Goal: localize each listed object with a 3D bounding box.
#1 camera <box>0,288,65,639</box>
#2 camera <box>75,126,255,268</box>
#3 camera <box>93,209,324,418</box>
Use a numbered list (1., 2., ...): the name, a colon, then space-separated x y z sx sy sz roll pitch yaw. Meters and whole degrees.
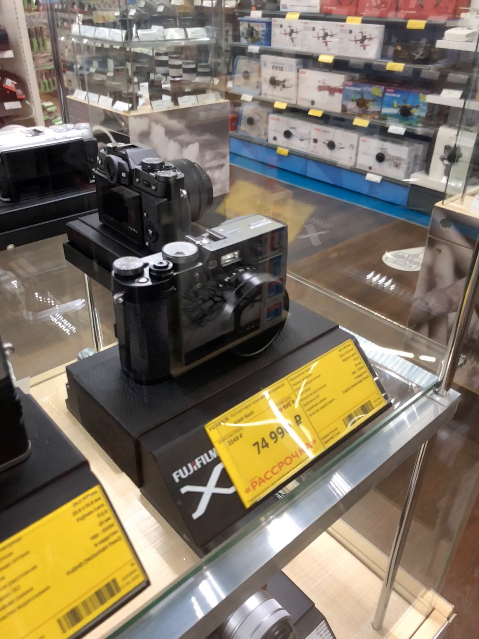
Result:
1. camera: -0.149 0.053 0.211 0.131 0.080 0.054 -25 40 -36
2. camera: -0.069 -0.122 0.495 0.104 0.080 0.131 -25 40 -35
3. camera: -0.014 -0.011 0.329 0.131 0.075 0.054 -25 40 -36
